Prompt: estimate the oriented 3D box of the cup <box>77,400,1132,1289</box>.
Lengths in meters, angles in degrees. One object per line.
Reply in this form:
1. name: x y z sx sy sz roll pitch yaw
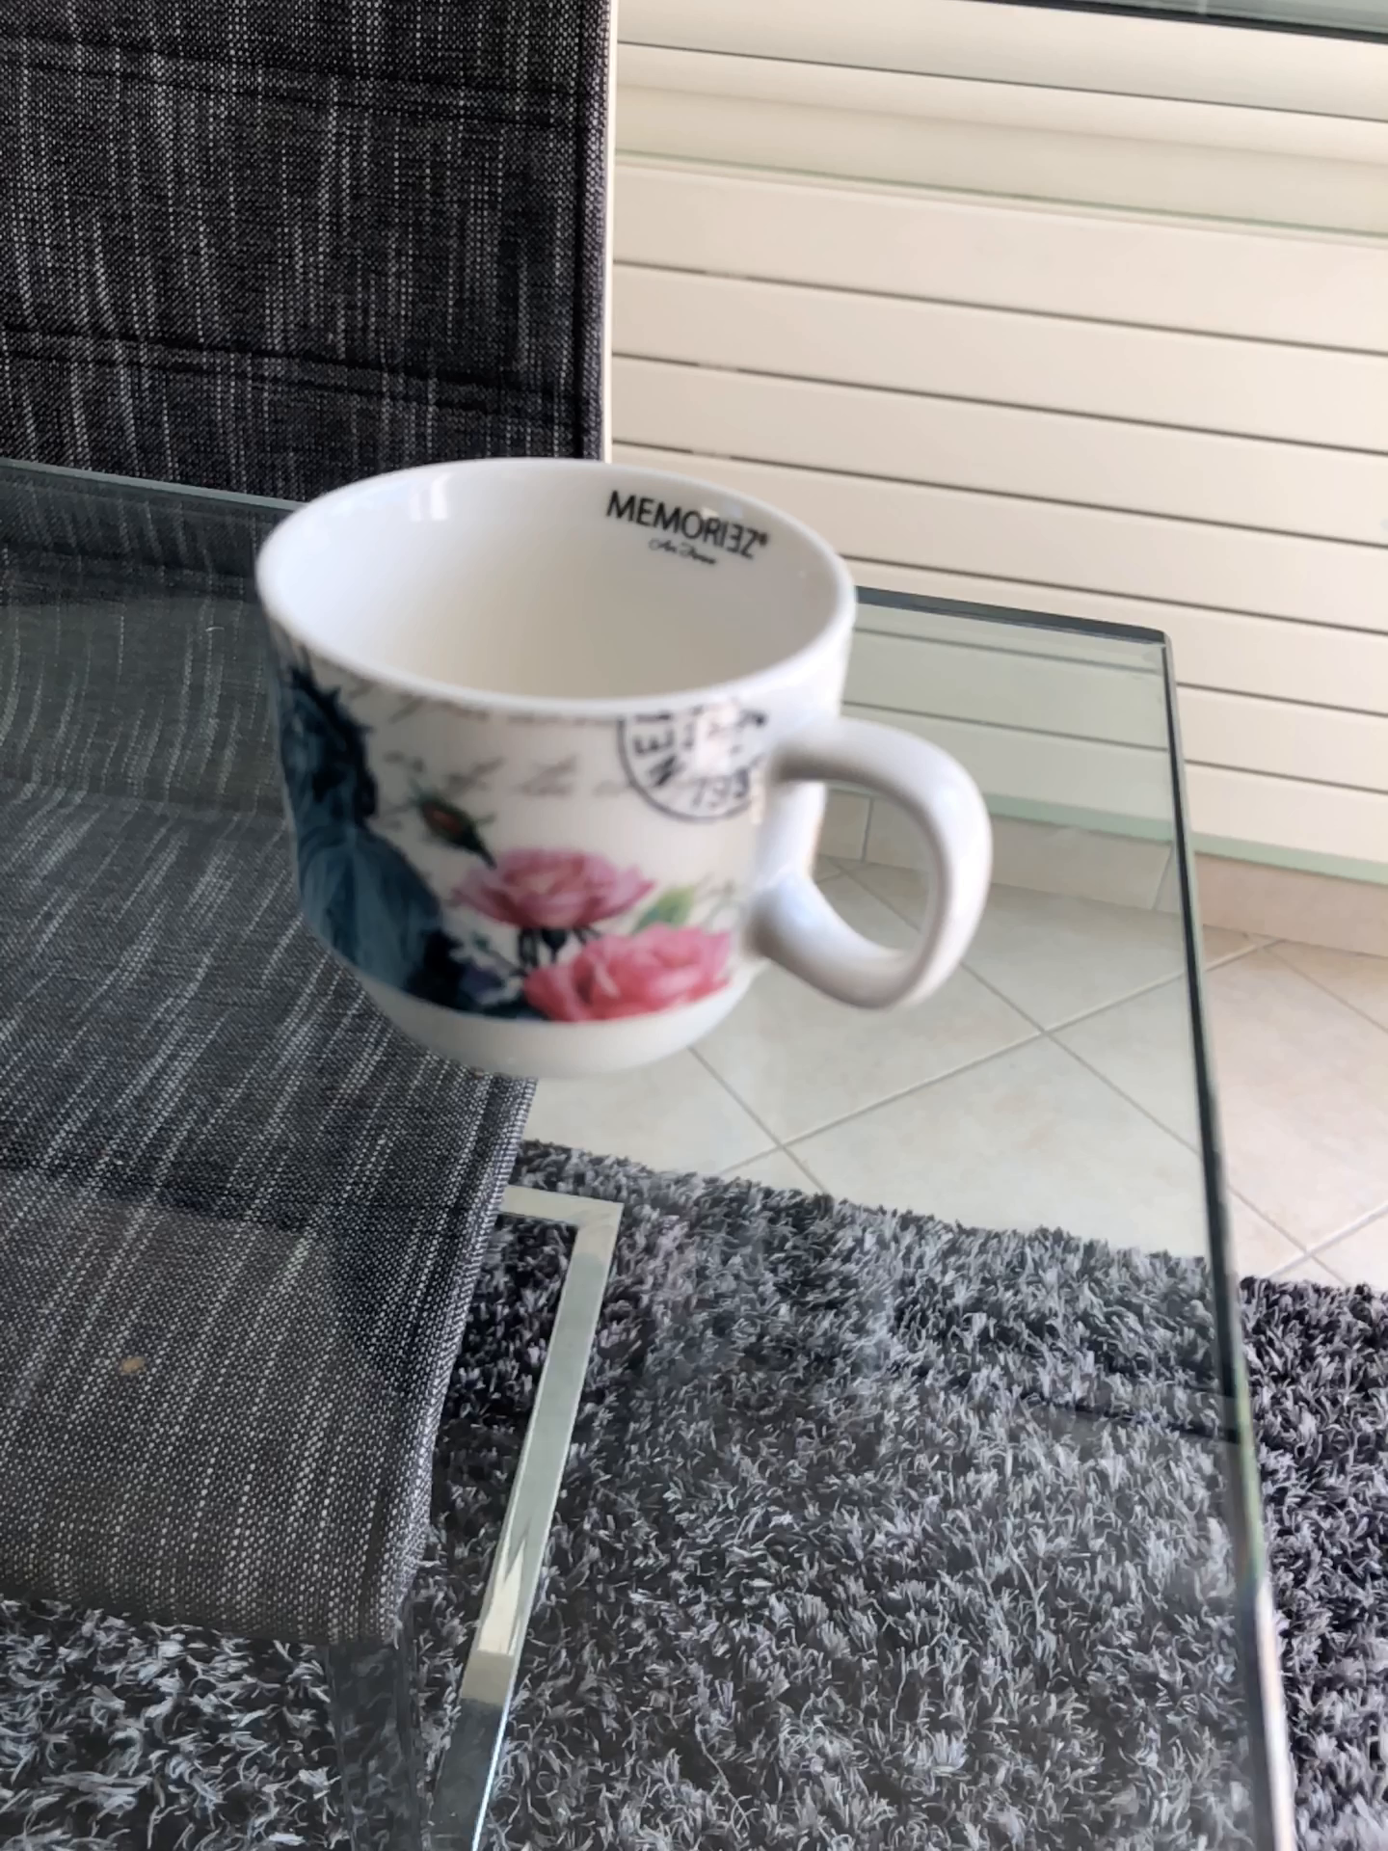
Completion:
1. cup: -0.011 -0.018 0.179 0.090 0.050 0.070 29 42 30
